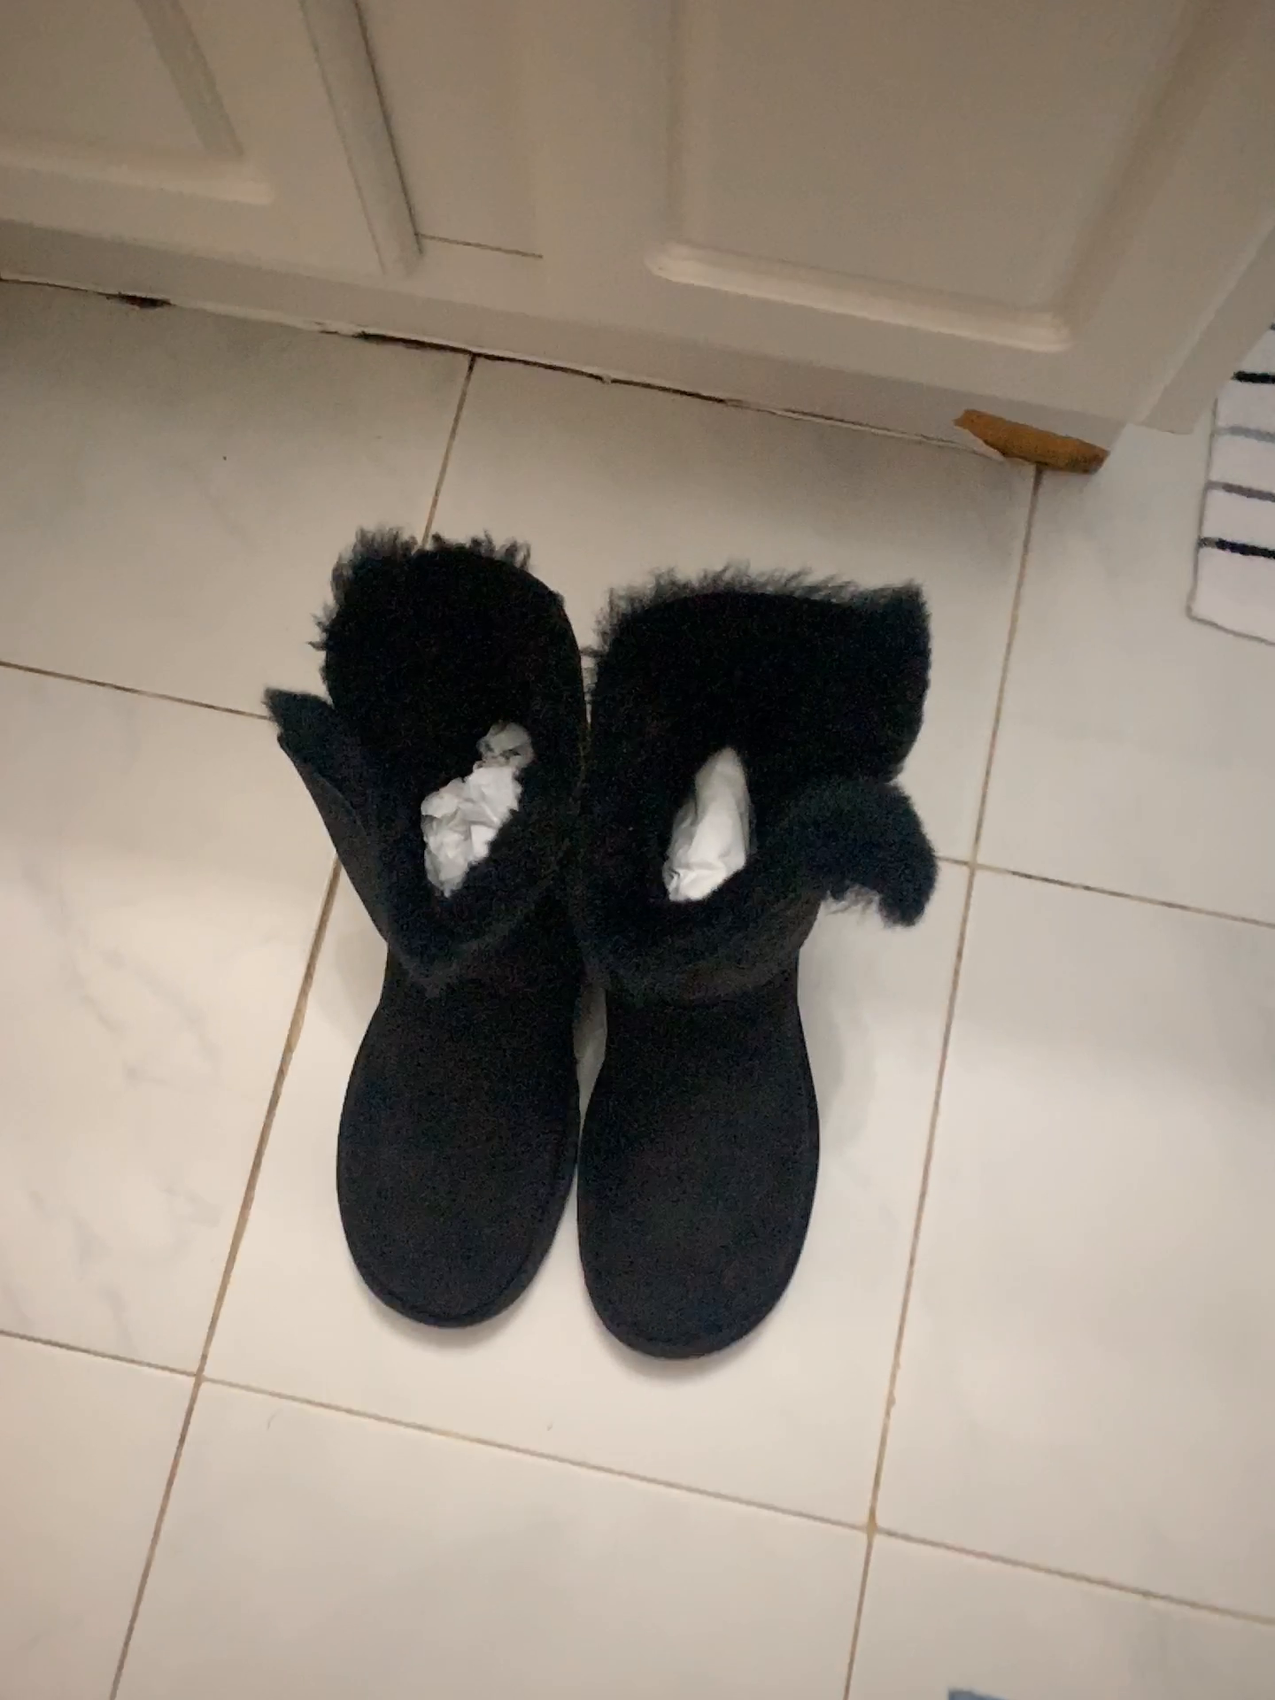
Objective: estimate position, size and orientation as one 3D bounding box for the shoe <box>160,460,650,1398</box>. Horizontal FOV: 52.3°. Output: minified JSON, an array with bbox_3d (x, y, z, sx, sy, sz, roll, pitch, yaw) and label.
[{"bbox_3d":[-0.067,0.031,0.493,0.120,0.170,0.290,5,78,2],"label":"shoe"}]

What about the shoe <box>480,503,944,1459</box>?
[{"bbox_3d":[0.028,0.048,0.488,0.110,0.190,0.280,7,78,2],"label":"shoe"}]
